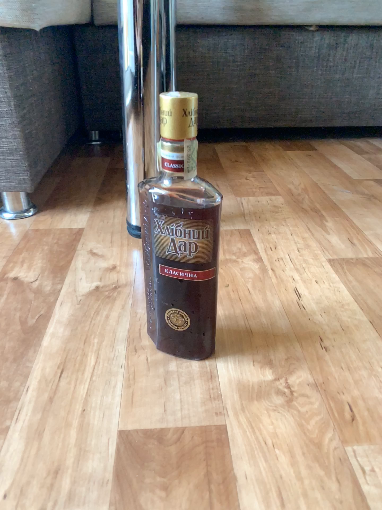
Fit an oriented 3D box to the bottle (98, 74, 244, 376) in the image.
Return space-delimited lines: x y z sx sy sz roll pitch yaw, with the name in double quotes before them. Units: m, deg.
"bottle" -0.015 -0.018 0.333 0.090 0.239 0.050 19 34 29
